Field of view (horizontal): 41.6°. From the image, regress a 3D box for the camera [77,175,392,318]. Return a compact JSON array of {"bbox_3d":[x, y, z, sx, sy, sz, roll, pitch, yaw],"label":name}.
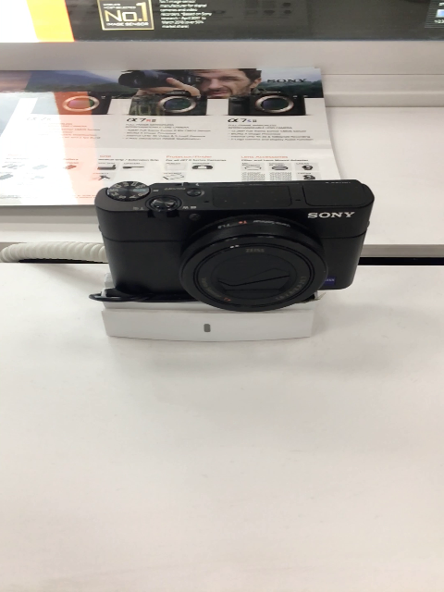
[{"bbox_3d":[0.005,-0.021,0.258,0.120,0.057,0.036,-1,50,0],"label":"camera"}]
